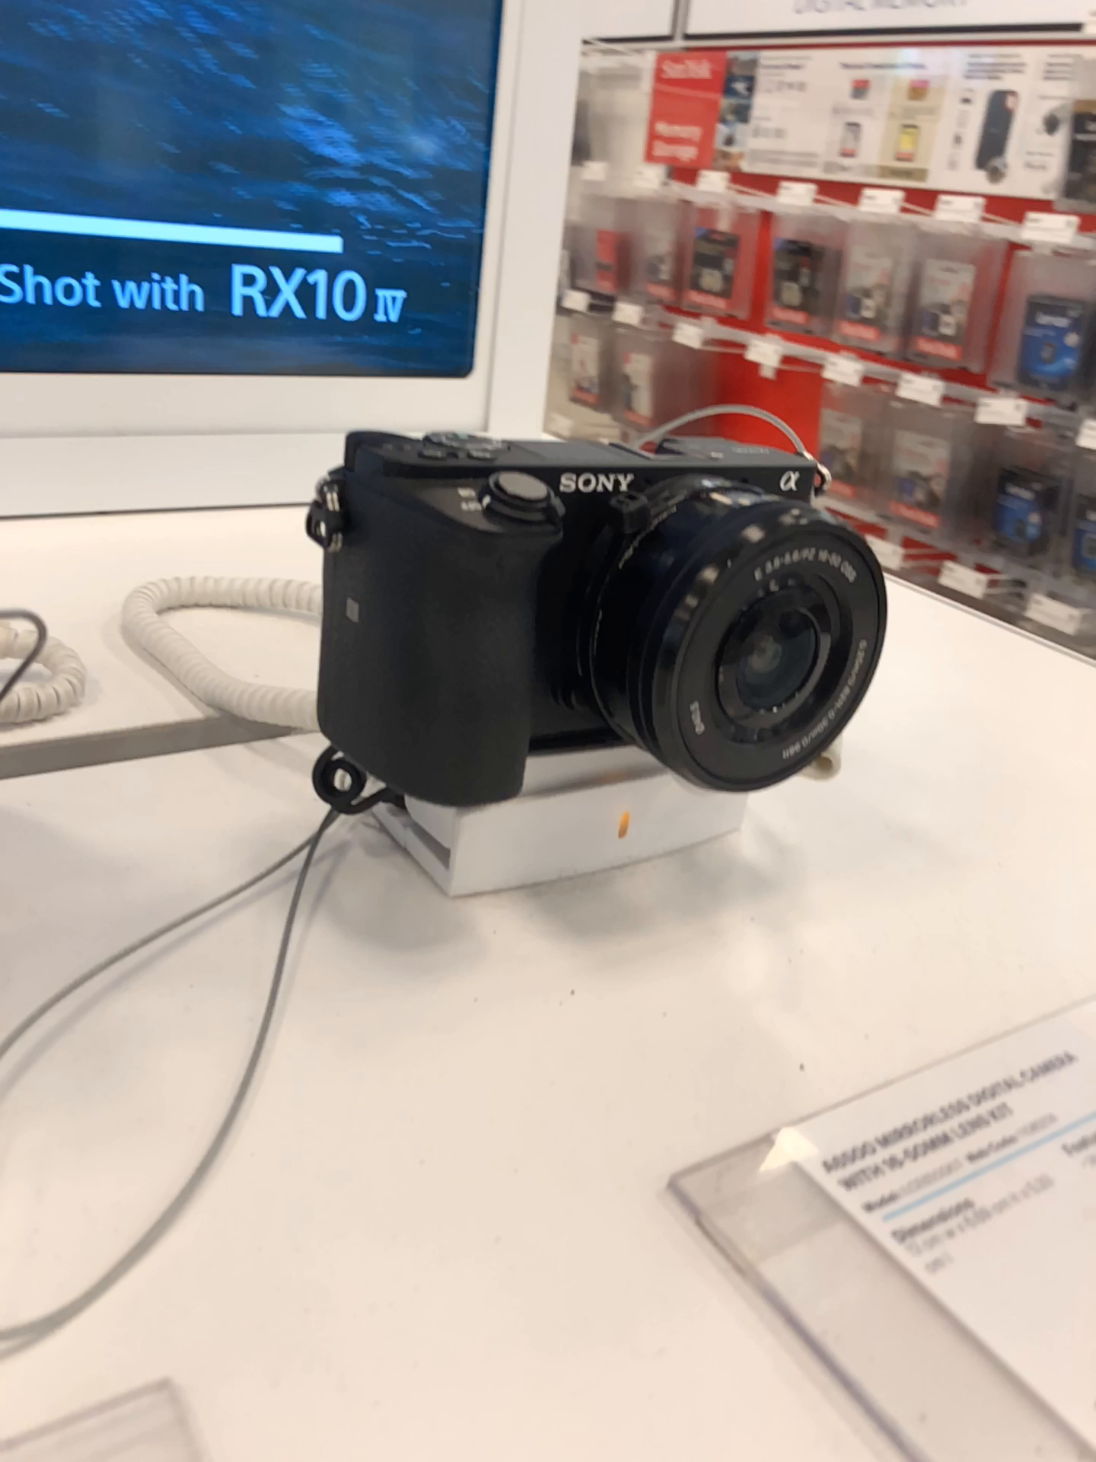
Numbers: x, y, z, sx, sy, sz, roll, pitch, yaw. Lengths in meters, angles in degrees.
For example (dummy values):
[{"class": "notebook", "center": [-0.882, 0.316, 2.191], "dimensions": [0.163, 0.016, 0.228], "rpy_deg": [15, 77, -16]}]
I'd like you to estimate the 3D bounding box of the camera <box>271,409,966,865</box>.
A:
[{"class": "camera", "center": [0.014, -0.029, 0.271], "dimensions": [0.130, 0.070, 0.070], "rpy_deg": [-8, 27, -31]}]
